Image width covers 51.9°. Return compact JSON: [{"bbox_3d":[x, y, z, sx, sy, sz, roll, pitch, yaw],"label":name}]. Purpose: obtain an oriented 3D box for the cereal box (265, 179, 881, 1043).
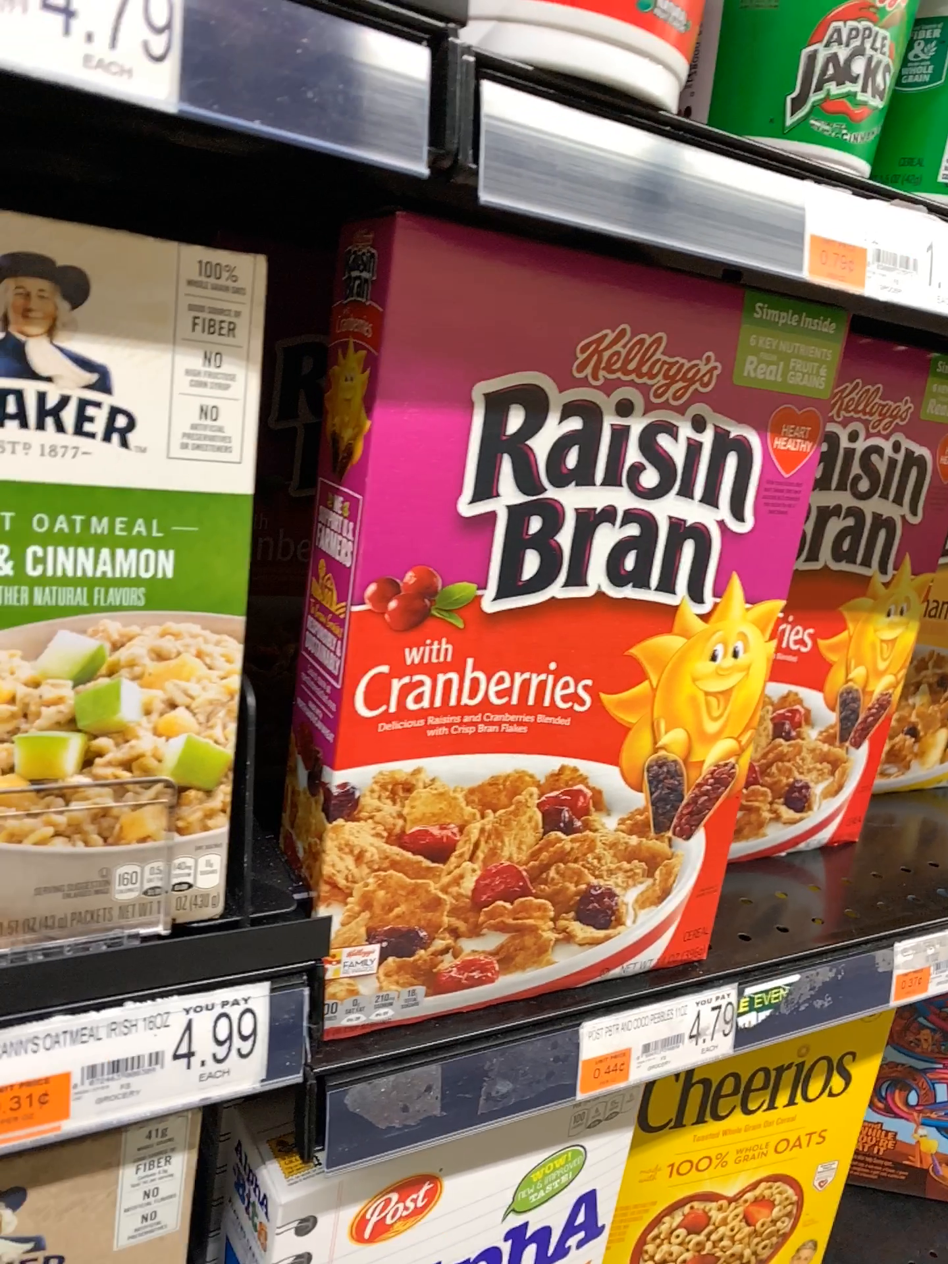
[{"bbox_3d":[0.036,0.000,0.388,0.200,0.289,0.060,0,16,-29],"label":"cereal box"}]
